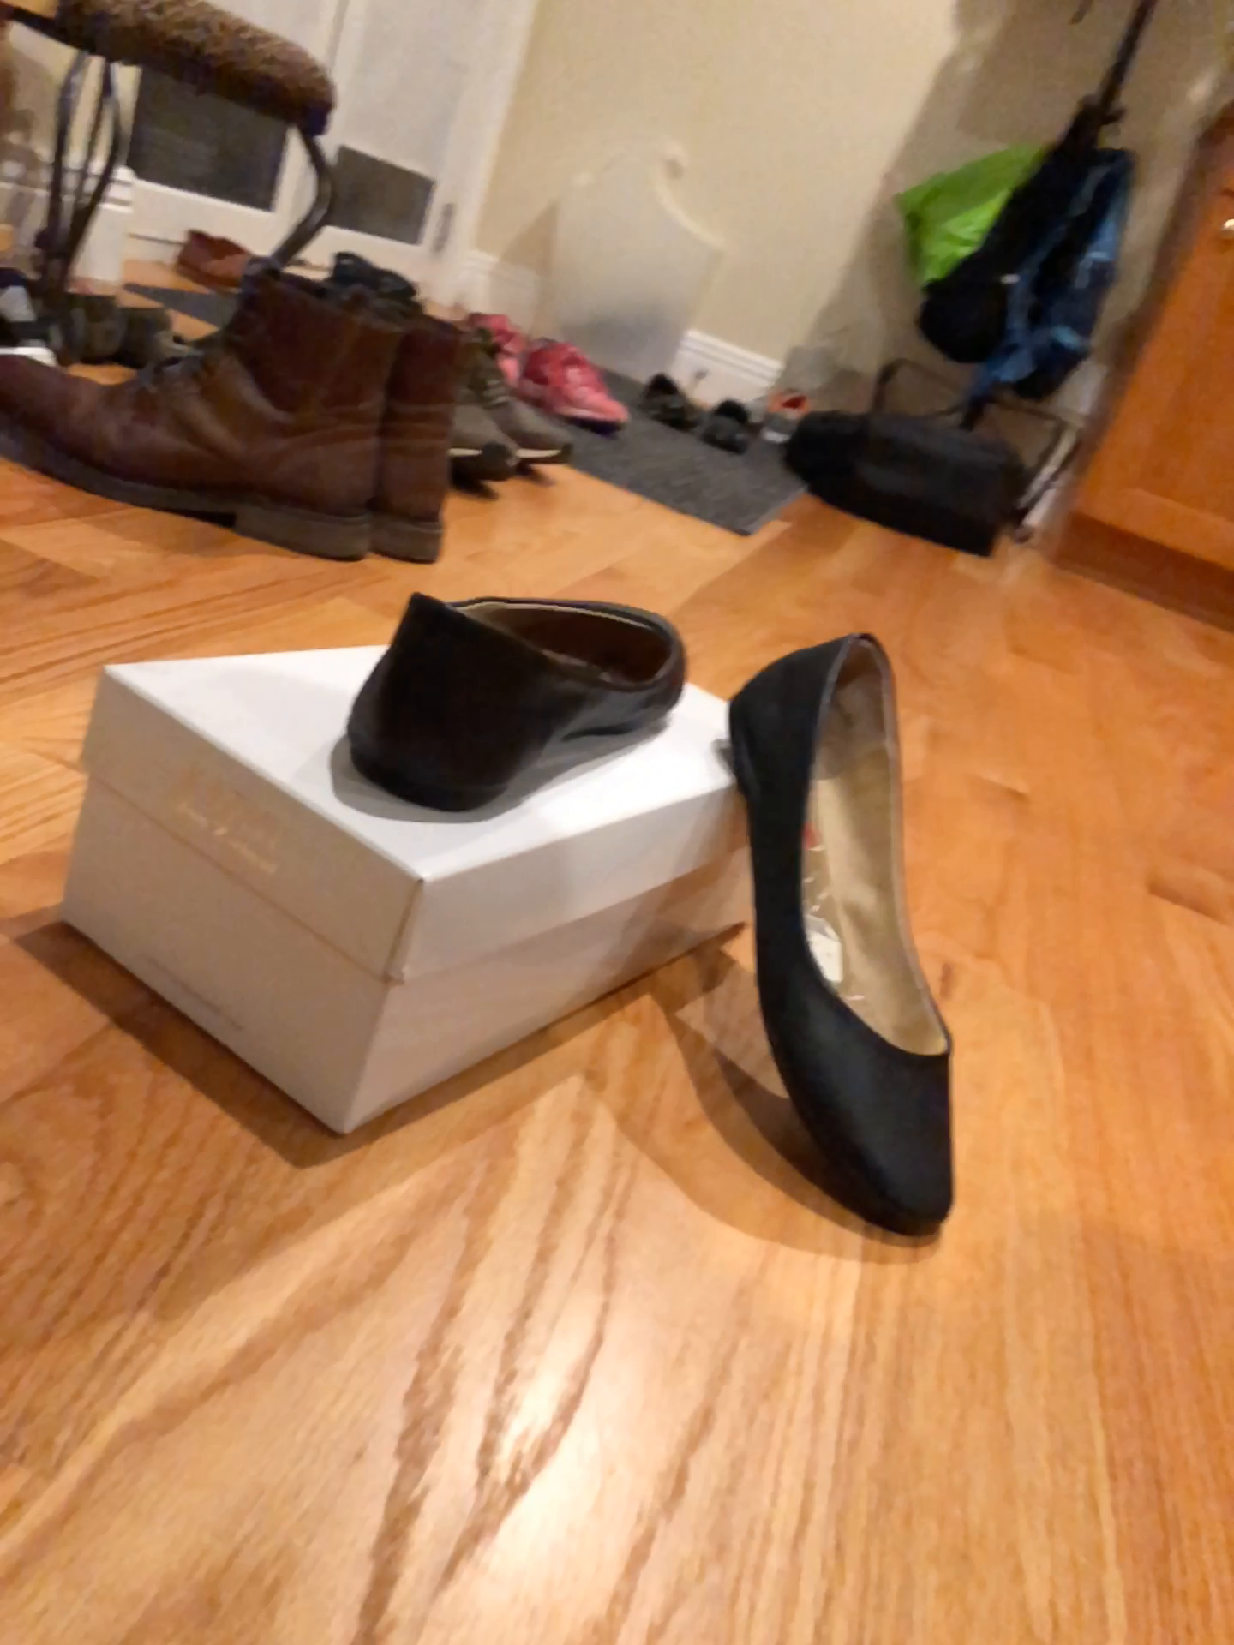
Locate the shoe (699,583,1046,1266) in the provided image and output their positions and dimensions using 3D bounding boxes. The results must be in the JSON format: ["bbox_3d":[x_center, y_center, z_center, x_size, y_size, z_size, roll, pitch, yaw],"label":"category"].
[{"bbox_3d":[0.090,0.035,0.510,0.076,0.060,0.241,22,53,-40],"label":"shoe"}]

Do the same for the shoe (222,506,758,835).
[{"bbox_3d":[-0.029,-0.068,0.489,0.076,0.060,0.240,26,23,15],"label":"shoe"}]
